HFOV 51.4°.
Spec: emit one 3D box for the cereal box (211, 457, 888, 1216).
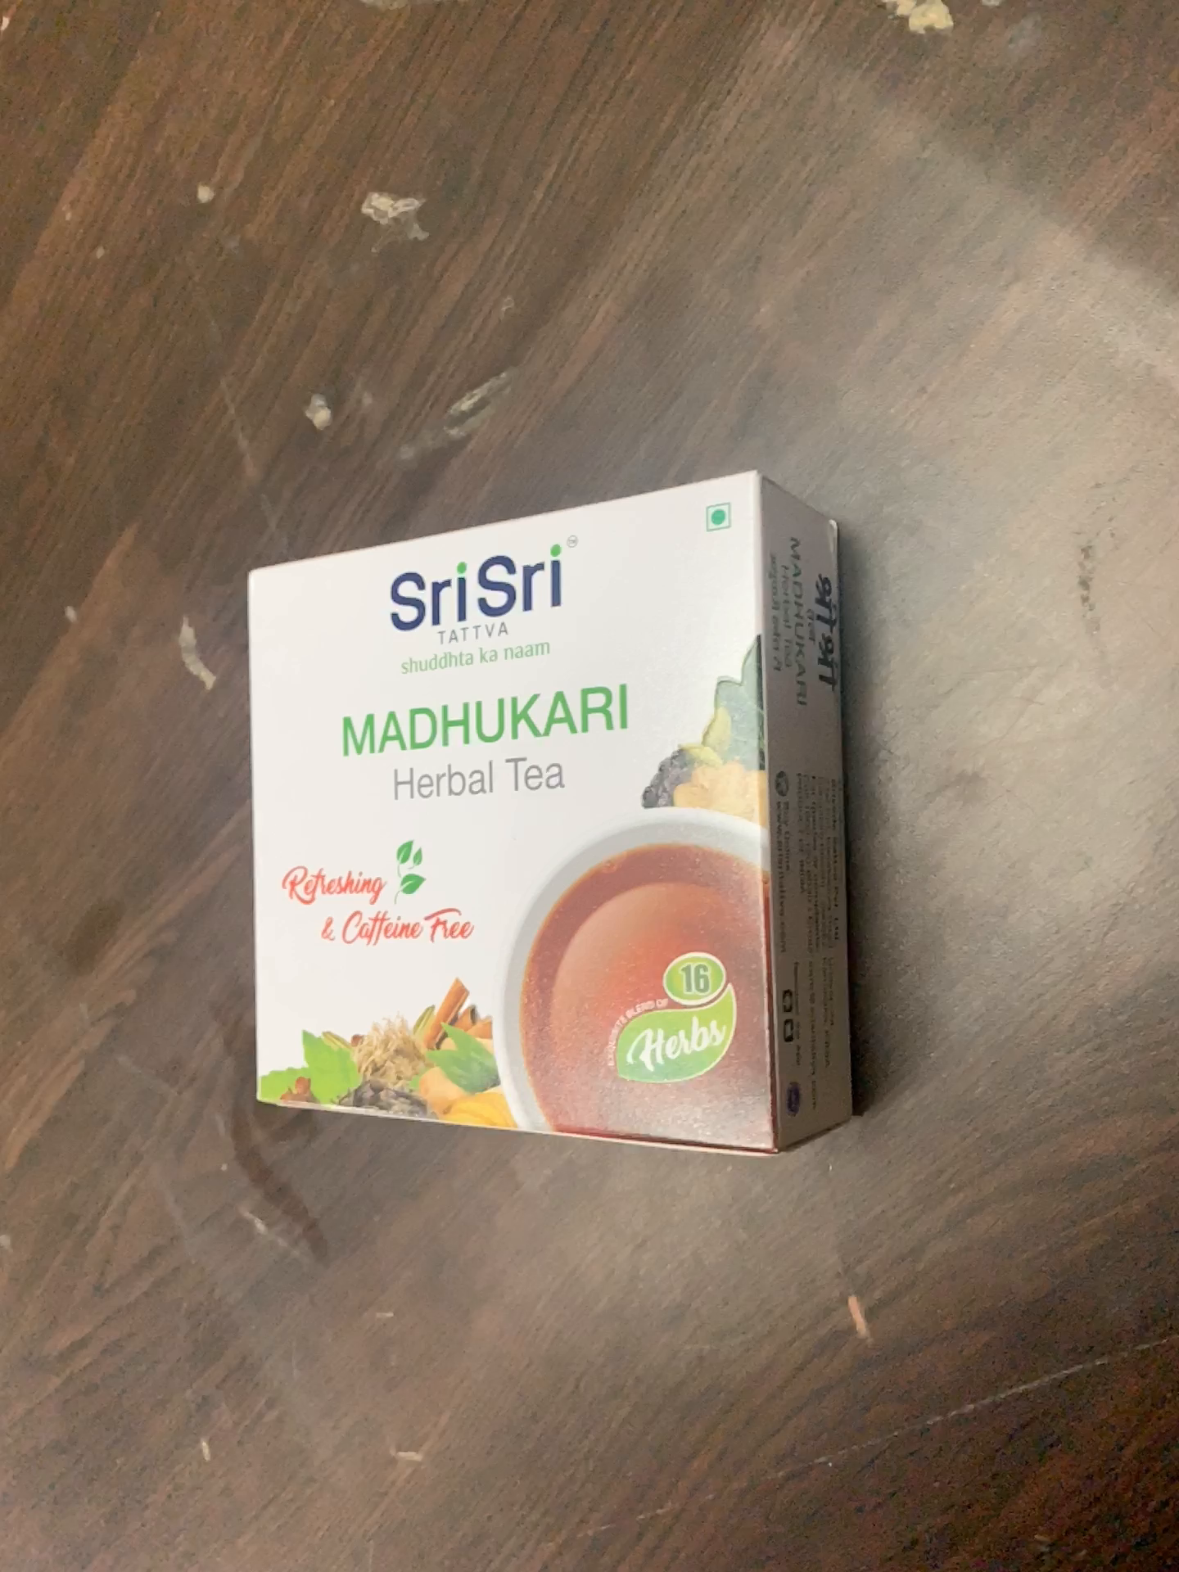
[{"bbox_3d":[-0.013,0.011,0.245,0.131,0.040,0.120,-3,88,32],"label":"cereal box"}]
